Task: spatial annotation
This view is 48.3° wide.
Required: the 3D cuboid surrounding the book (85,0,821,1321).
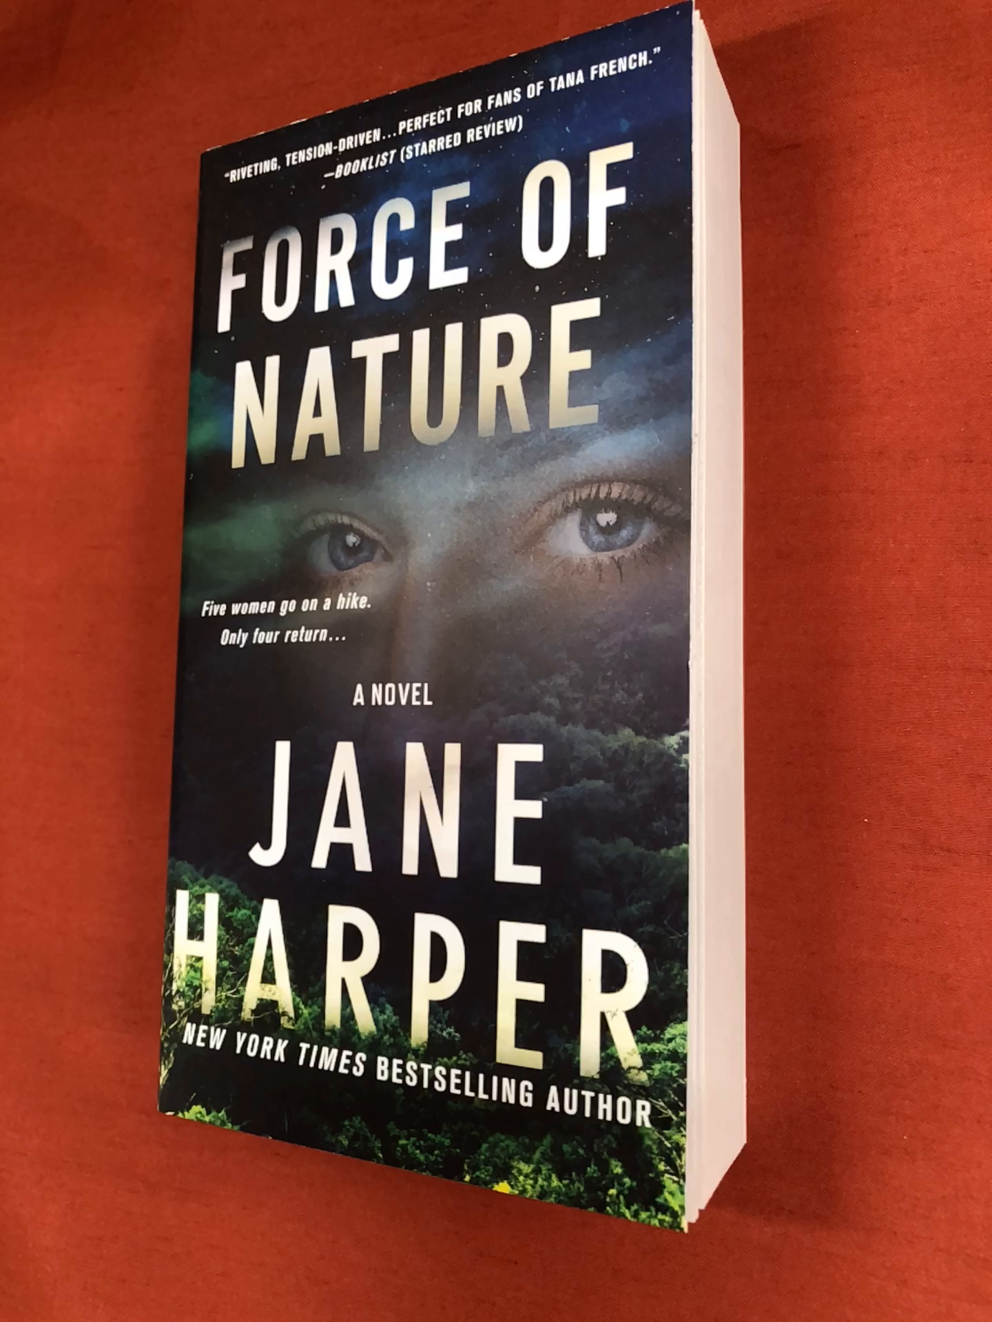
[{"bbox_3d":[-0.009,-0.002,0.193,0.110,0.050,0.180,-2,90,27],"label":"book"}]
